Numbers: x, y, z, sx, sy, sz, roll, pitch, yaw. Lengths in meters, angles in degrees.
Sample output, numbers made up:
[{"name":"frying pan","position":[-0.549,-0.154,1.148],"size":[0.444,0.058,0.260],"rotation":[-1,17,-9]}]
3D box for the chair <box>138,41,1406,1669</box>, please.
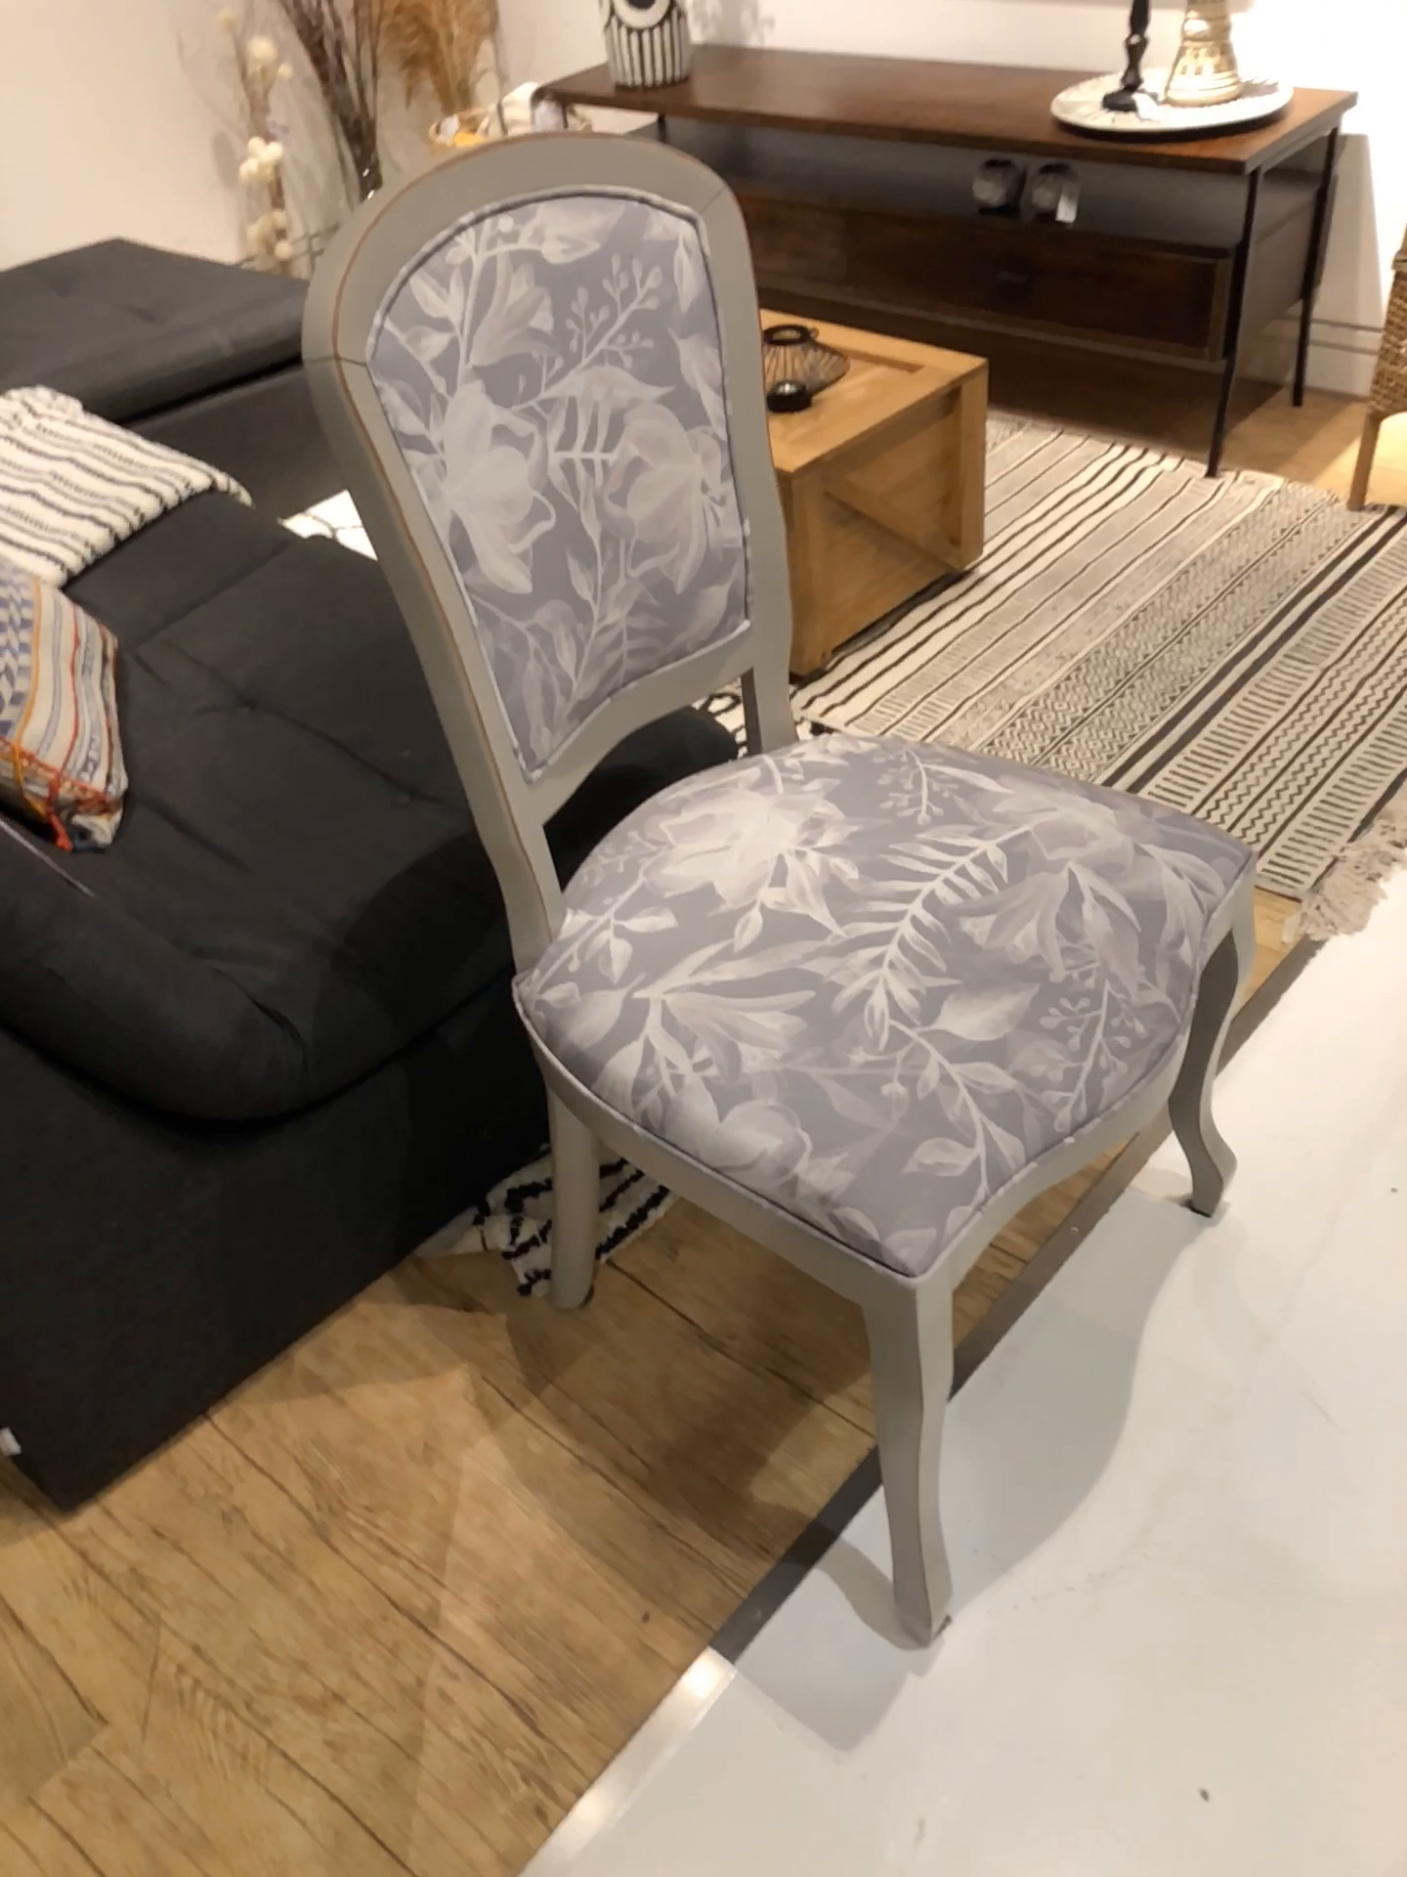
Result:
[{"name":"chair","position":[0.118,-0.063,1.161],"size":[0.532,0.942,0.573],"rotation":[25,49,33]}]
